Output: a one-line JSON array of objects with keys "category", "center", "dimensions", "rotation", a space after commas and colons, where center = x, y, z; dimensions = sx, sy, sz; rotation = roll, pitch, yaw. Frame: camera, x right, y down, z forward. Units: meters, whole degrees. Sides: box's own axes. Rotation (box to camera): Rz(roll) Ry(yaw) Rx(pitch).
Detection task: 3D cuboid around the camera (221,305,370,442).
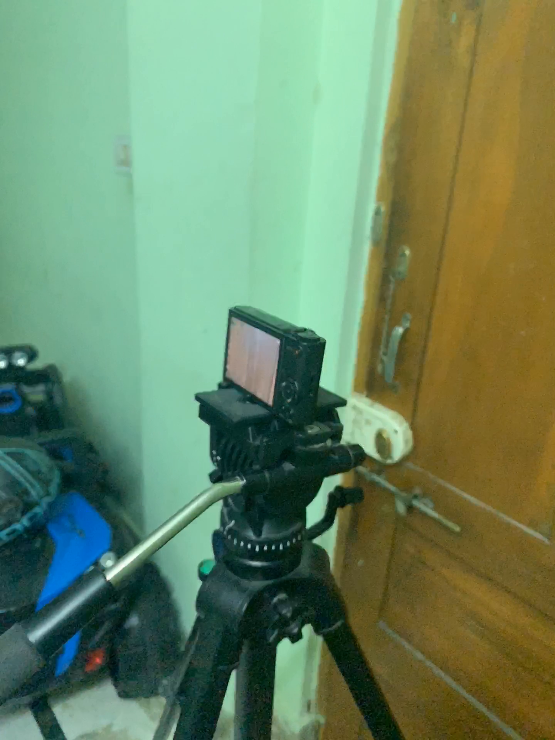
[{"category": "camera", "center": [0.008, -0.002, 0.393], "dimensions": [0.040, 0.060, 0.100], "rotation": [-4, 22, -37]}]
